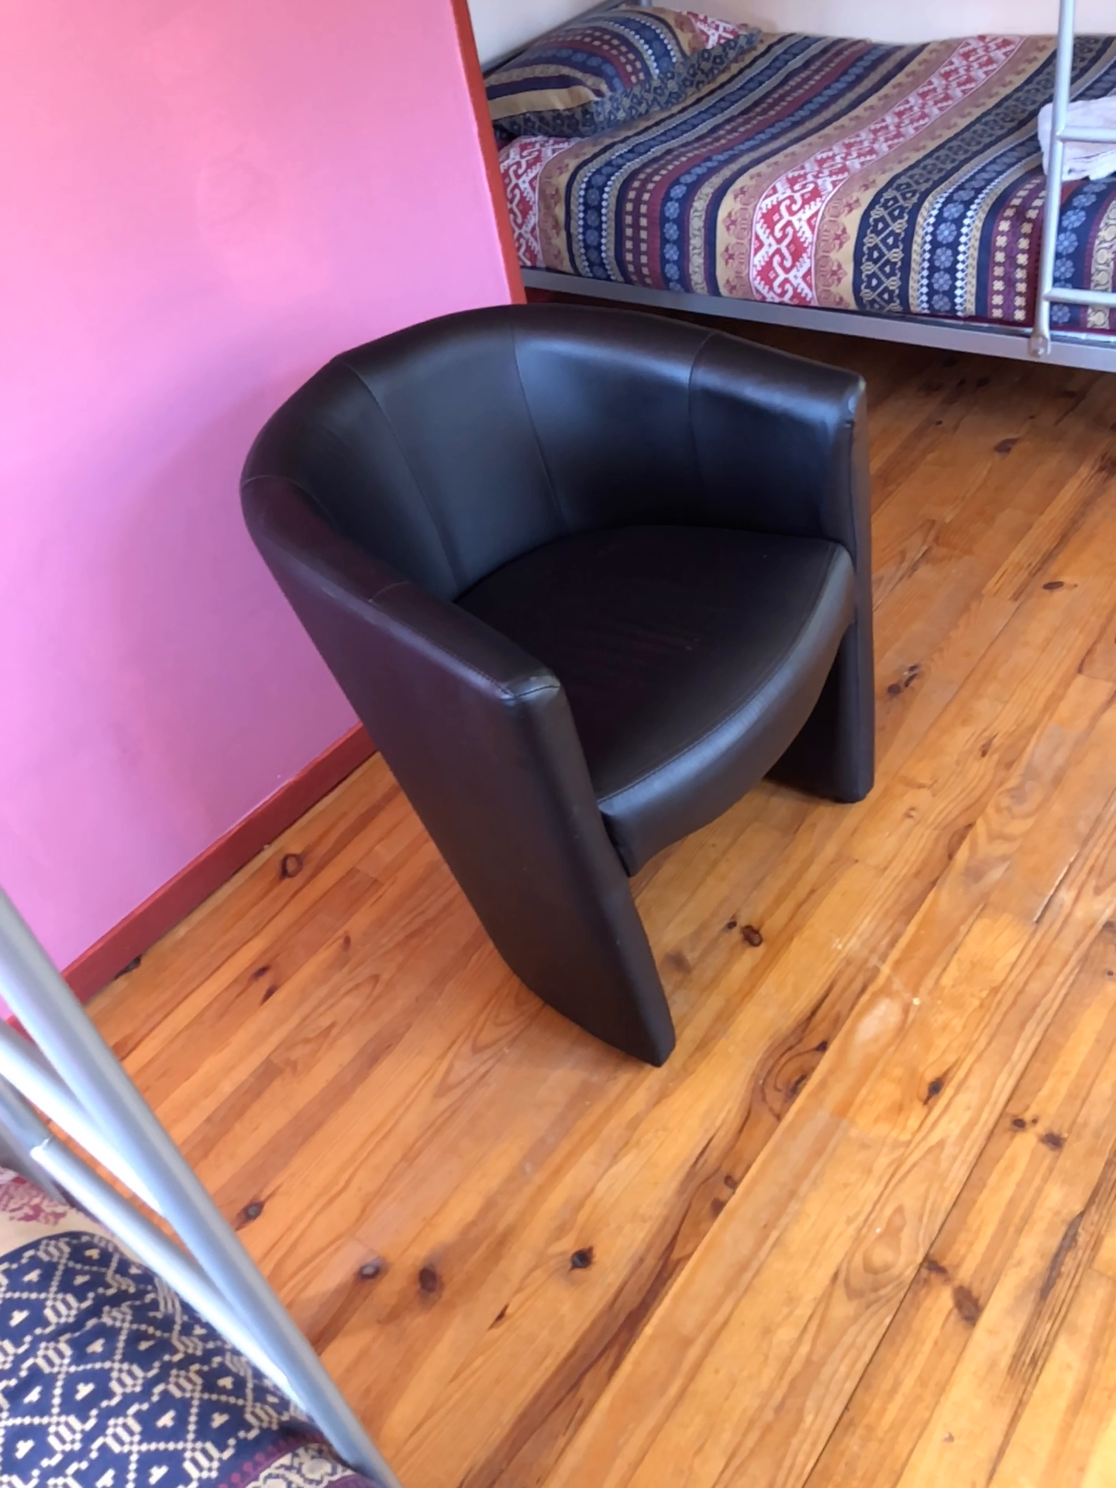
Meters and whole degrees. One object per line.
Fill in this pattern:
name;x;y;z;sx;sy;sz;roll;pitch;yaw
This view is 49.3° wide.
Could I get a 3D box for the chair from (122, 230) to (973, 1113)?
chair;0.051;-0.132;1.448;0.591;0.647;0.673;21;52;33
